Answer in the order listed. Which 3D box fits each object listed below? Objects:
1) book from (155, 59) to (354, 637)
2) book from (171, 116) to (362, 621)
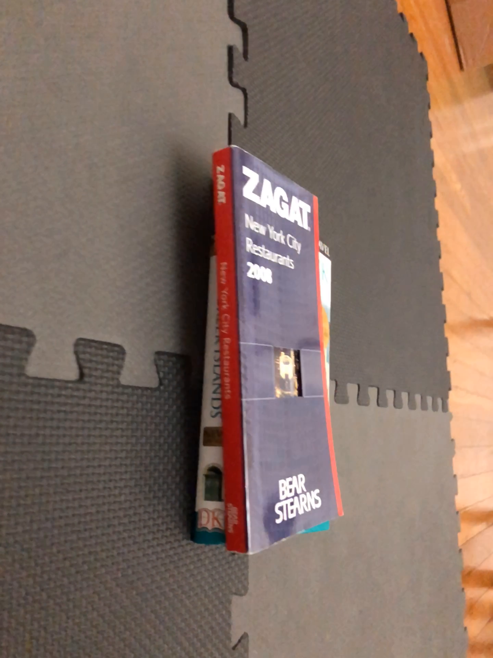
[{"bbox_3d":[0.013,0.007,0.303,0.151,0.020,0.250,6,79,-57],"label":"book"},{"bbox_3d":[0.027,0.025,0.355,0.171,0.030,0.260,21,67,-54],"label":"book"}]
